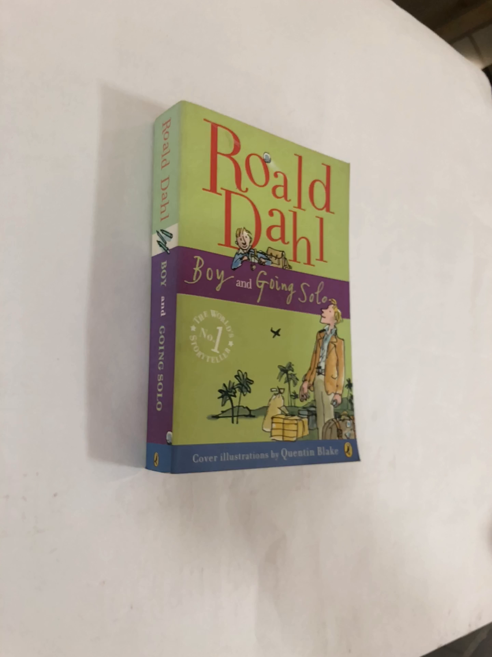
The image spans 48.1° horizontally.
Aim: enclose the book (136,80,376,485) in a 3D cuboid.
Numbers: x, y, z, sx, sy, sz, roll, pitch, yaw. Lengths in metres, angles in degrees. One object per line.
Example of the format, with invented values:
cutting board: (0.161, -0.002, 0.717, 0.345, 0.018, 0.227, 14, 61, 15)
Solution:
book: (0.011, -0.018, 0.315, 0.141, 0.036, 0.193, 6, 80, -38)
